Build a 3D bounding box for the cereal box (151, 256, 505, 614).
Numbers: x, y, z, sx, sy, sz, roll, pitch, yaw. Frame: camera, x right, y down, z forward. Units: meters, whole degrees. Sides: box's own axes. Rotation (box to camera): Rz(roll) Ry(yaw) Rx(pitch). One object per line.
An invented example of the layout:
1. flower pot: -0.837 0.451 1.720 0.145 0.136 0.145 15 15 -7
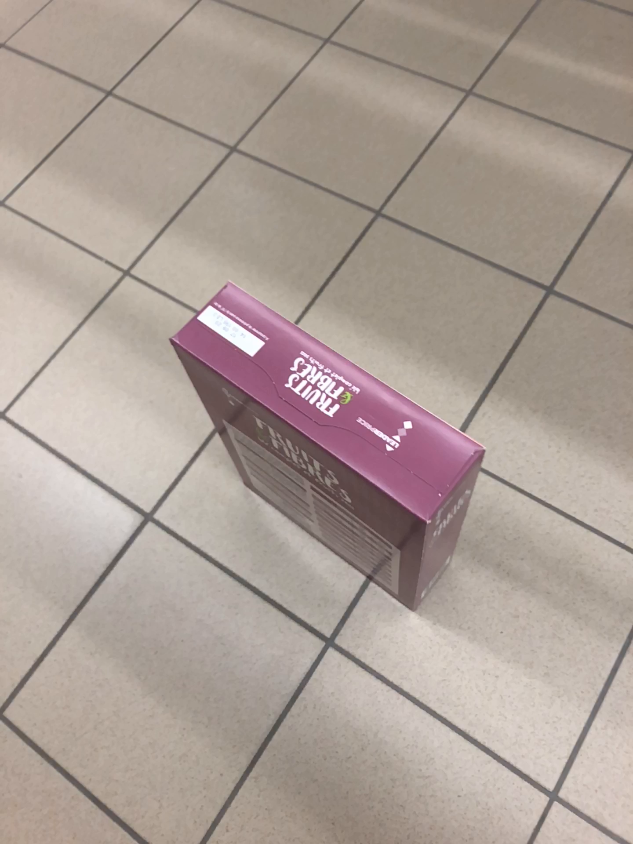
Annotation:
1. cereal box: 0.013 0.028 0.514 0.210 0.259 0.060 34 73 20
